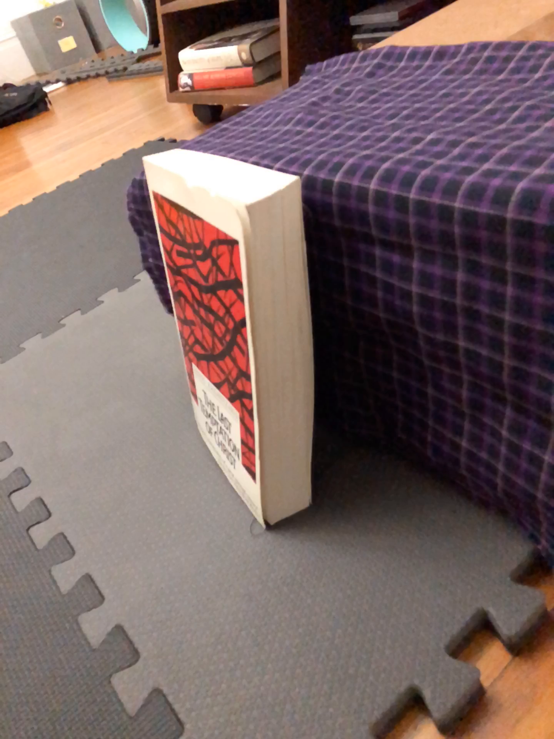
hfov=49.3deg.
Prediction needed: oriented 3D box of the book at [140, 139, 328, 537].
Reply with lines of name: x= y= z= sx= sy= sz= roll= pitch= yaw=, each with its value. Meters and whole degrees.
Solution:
book: x=-0.029 y=-0.027 z=0.389 sx=0.050 sy=0.209 sz=0.151 roll=-16 pitch=30 yaw=-14
